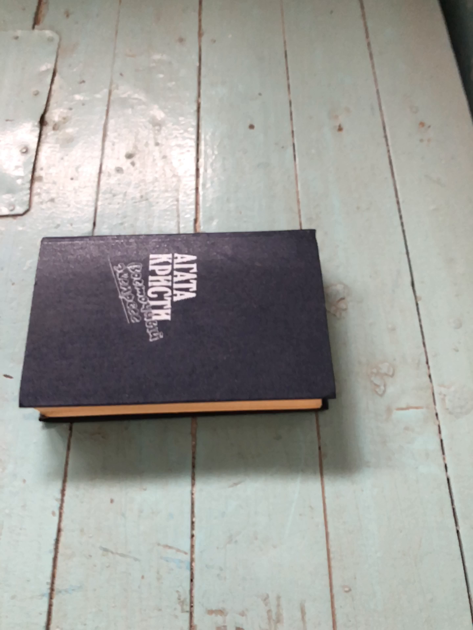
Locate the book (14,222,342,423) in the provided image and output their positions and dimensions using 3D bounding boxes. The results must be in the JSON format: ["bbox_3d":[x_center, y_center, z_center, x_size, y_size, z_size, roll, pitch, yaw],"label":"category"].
[{"bbox_3d":[-0.039,0.003,0.386,0.210,0.040,0.138,-1,64,-1],"label":"book"}]
